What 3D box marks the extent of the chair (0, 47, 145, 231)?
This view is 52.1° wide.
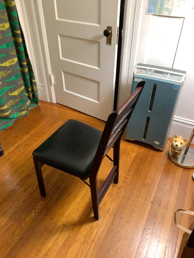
[{"bbox_3d":[-0.111,0.060,1.195,0.551,0.865,0.492,17,41,20],"label":"chair"}]
